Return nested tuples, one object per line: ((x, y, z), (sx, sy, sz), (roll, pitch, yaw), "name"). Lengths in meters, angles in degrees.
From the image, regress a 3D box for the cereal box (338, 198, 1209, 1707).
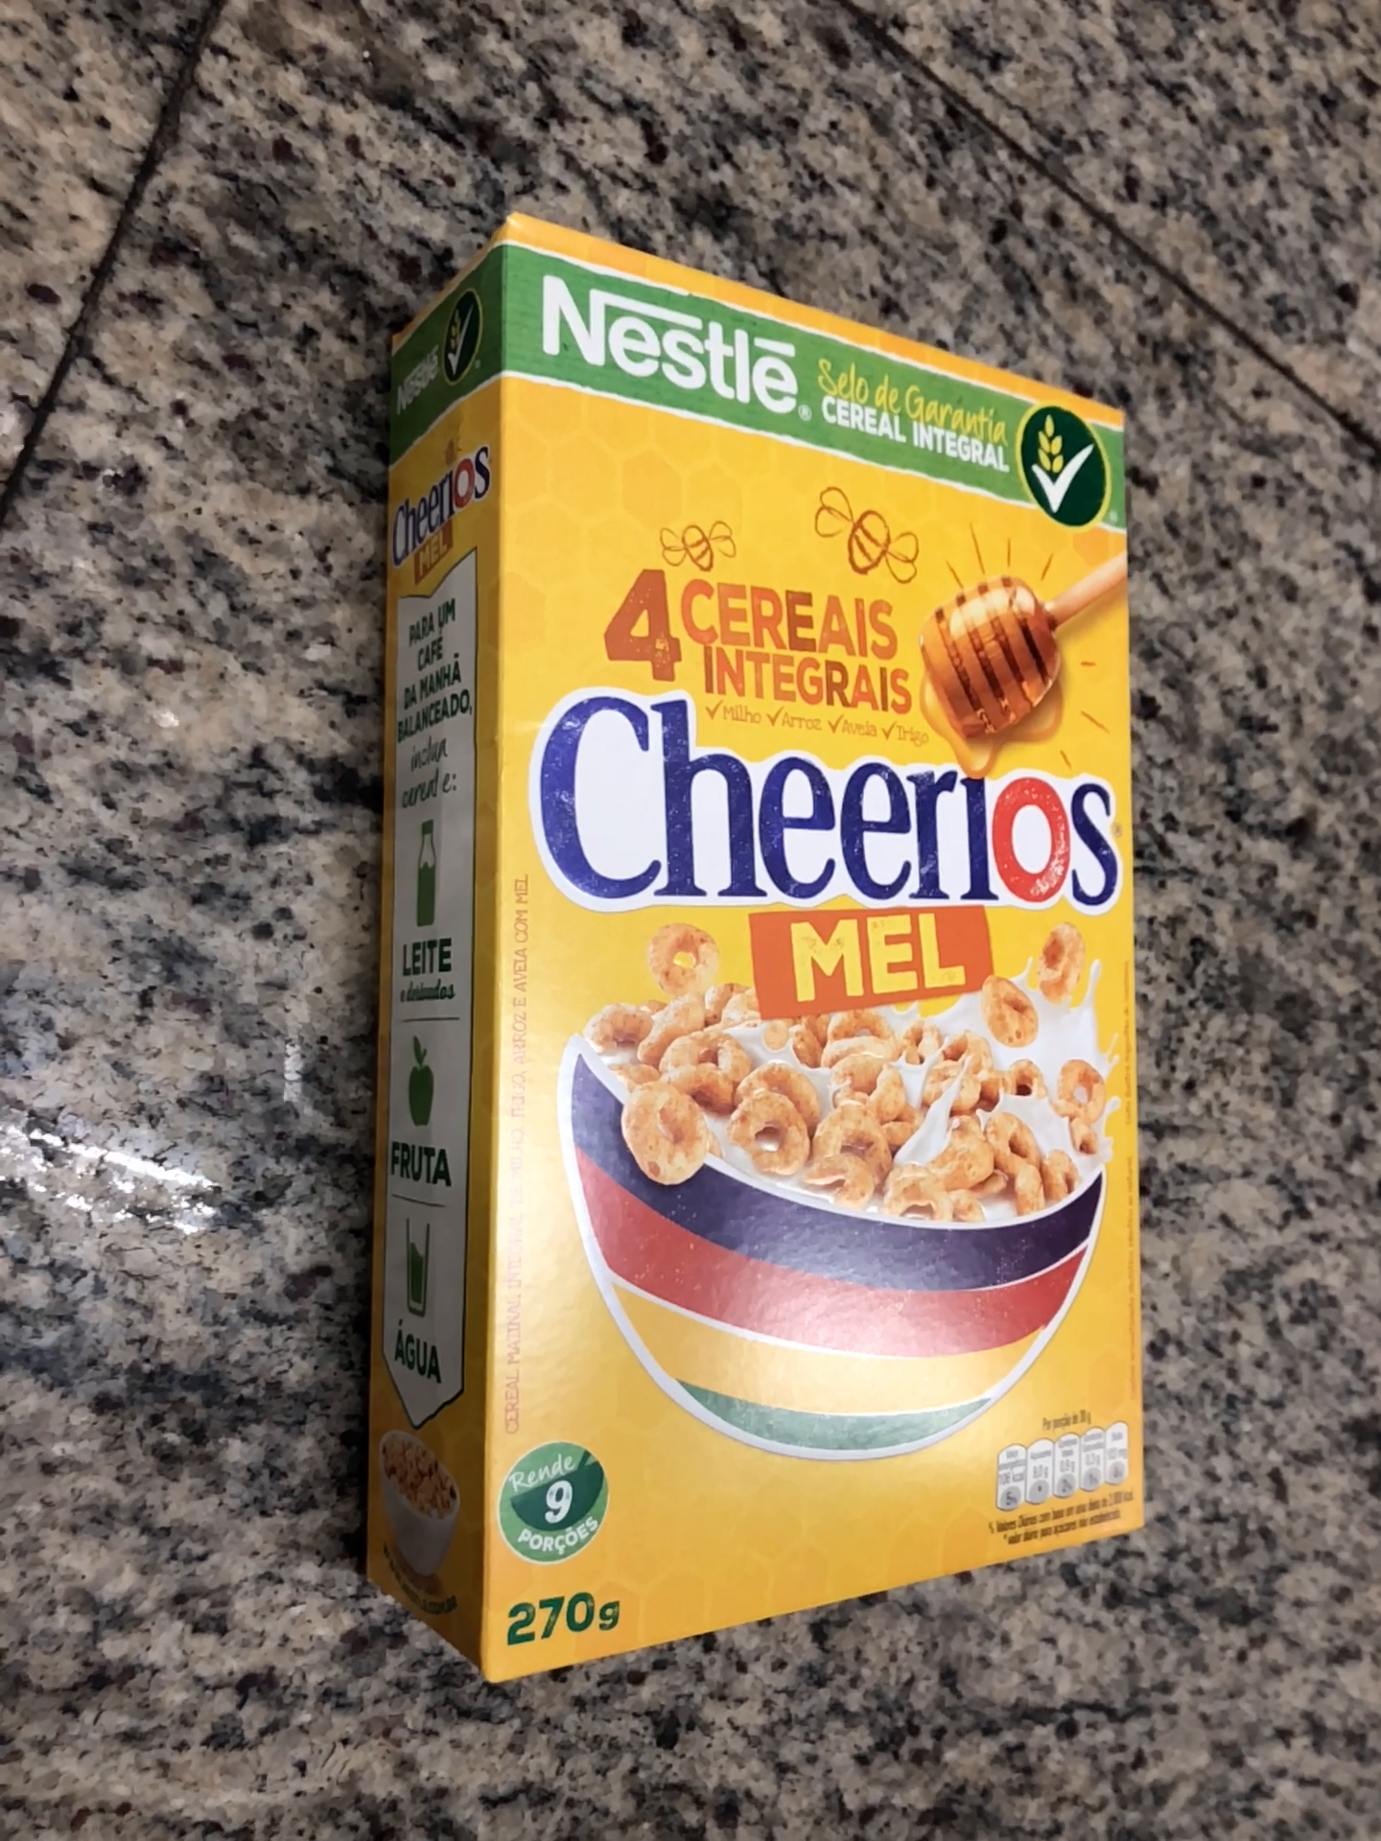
((0.021, 0.005, 0.315), (0.171, 0.060, 0.240), (2, 84, -33), "cereal box")
